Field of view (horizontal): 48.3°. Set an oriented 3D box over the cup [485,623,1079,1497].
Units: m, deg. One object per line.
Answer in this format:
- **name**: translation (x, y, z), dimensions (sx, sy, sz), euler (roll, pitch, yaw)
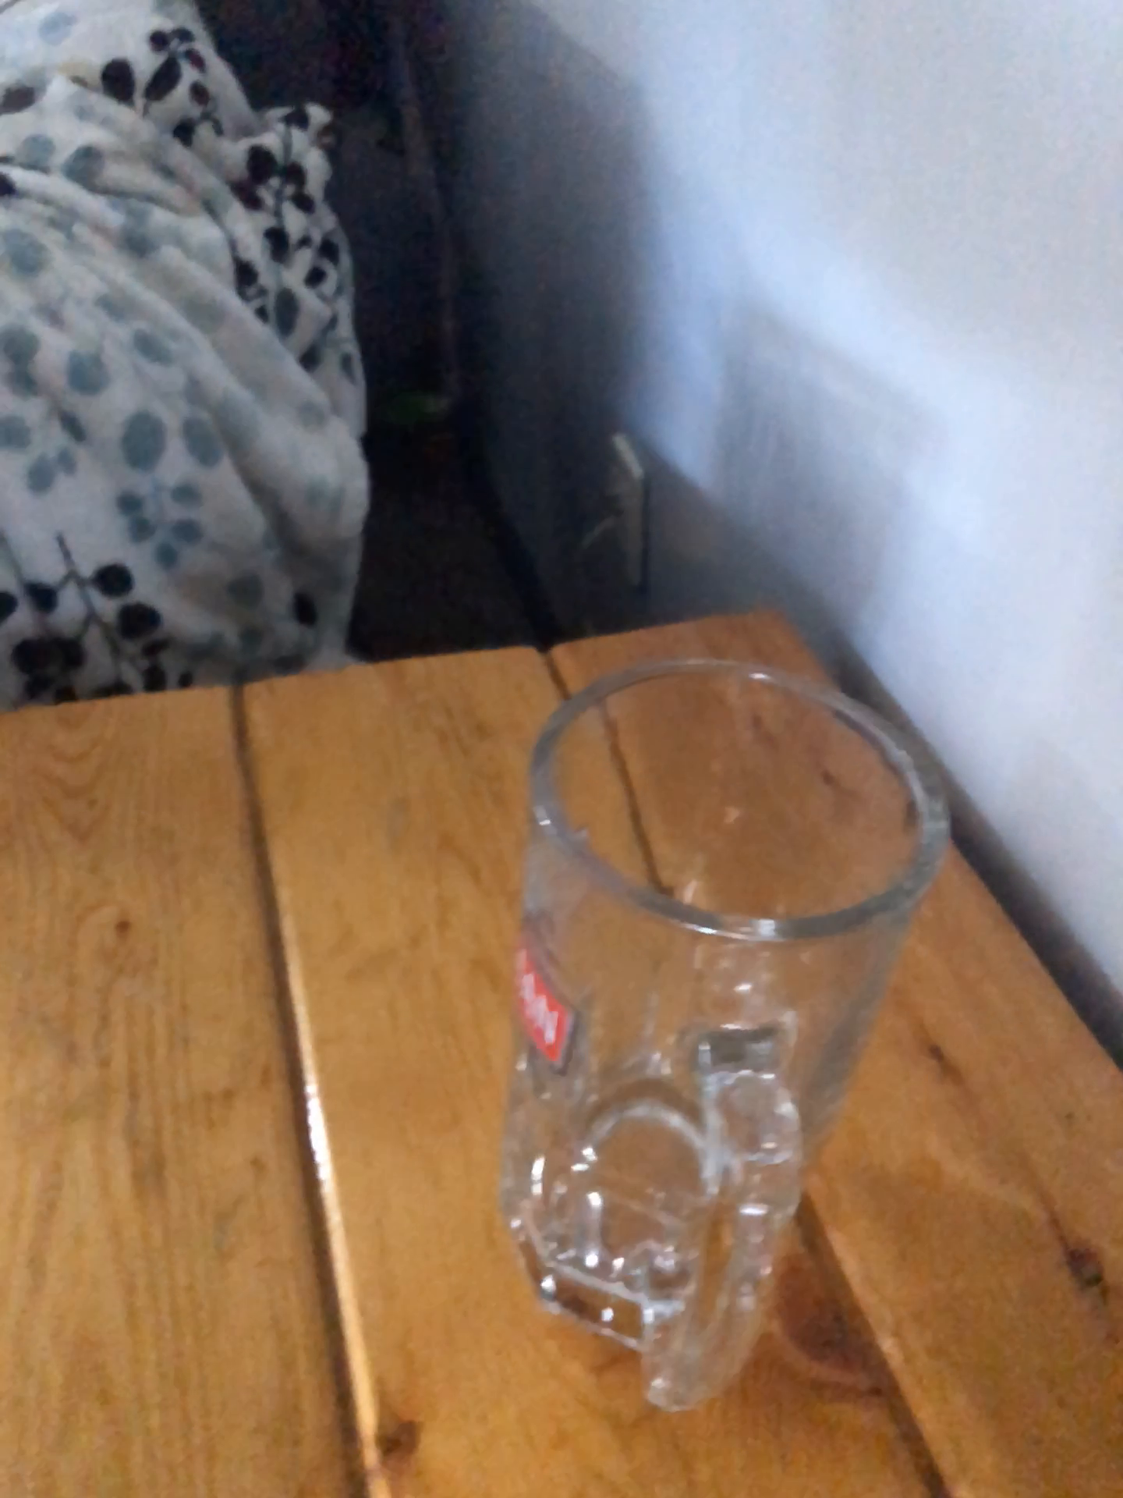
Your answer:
- **cup**: translation (0.038, 0.098, 0.363), dimensions (0.110, 0.209, 0.160), euler (2, 40, -1)
